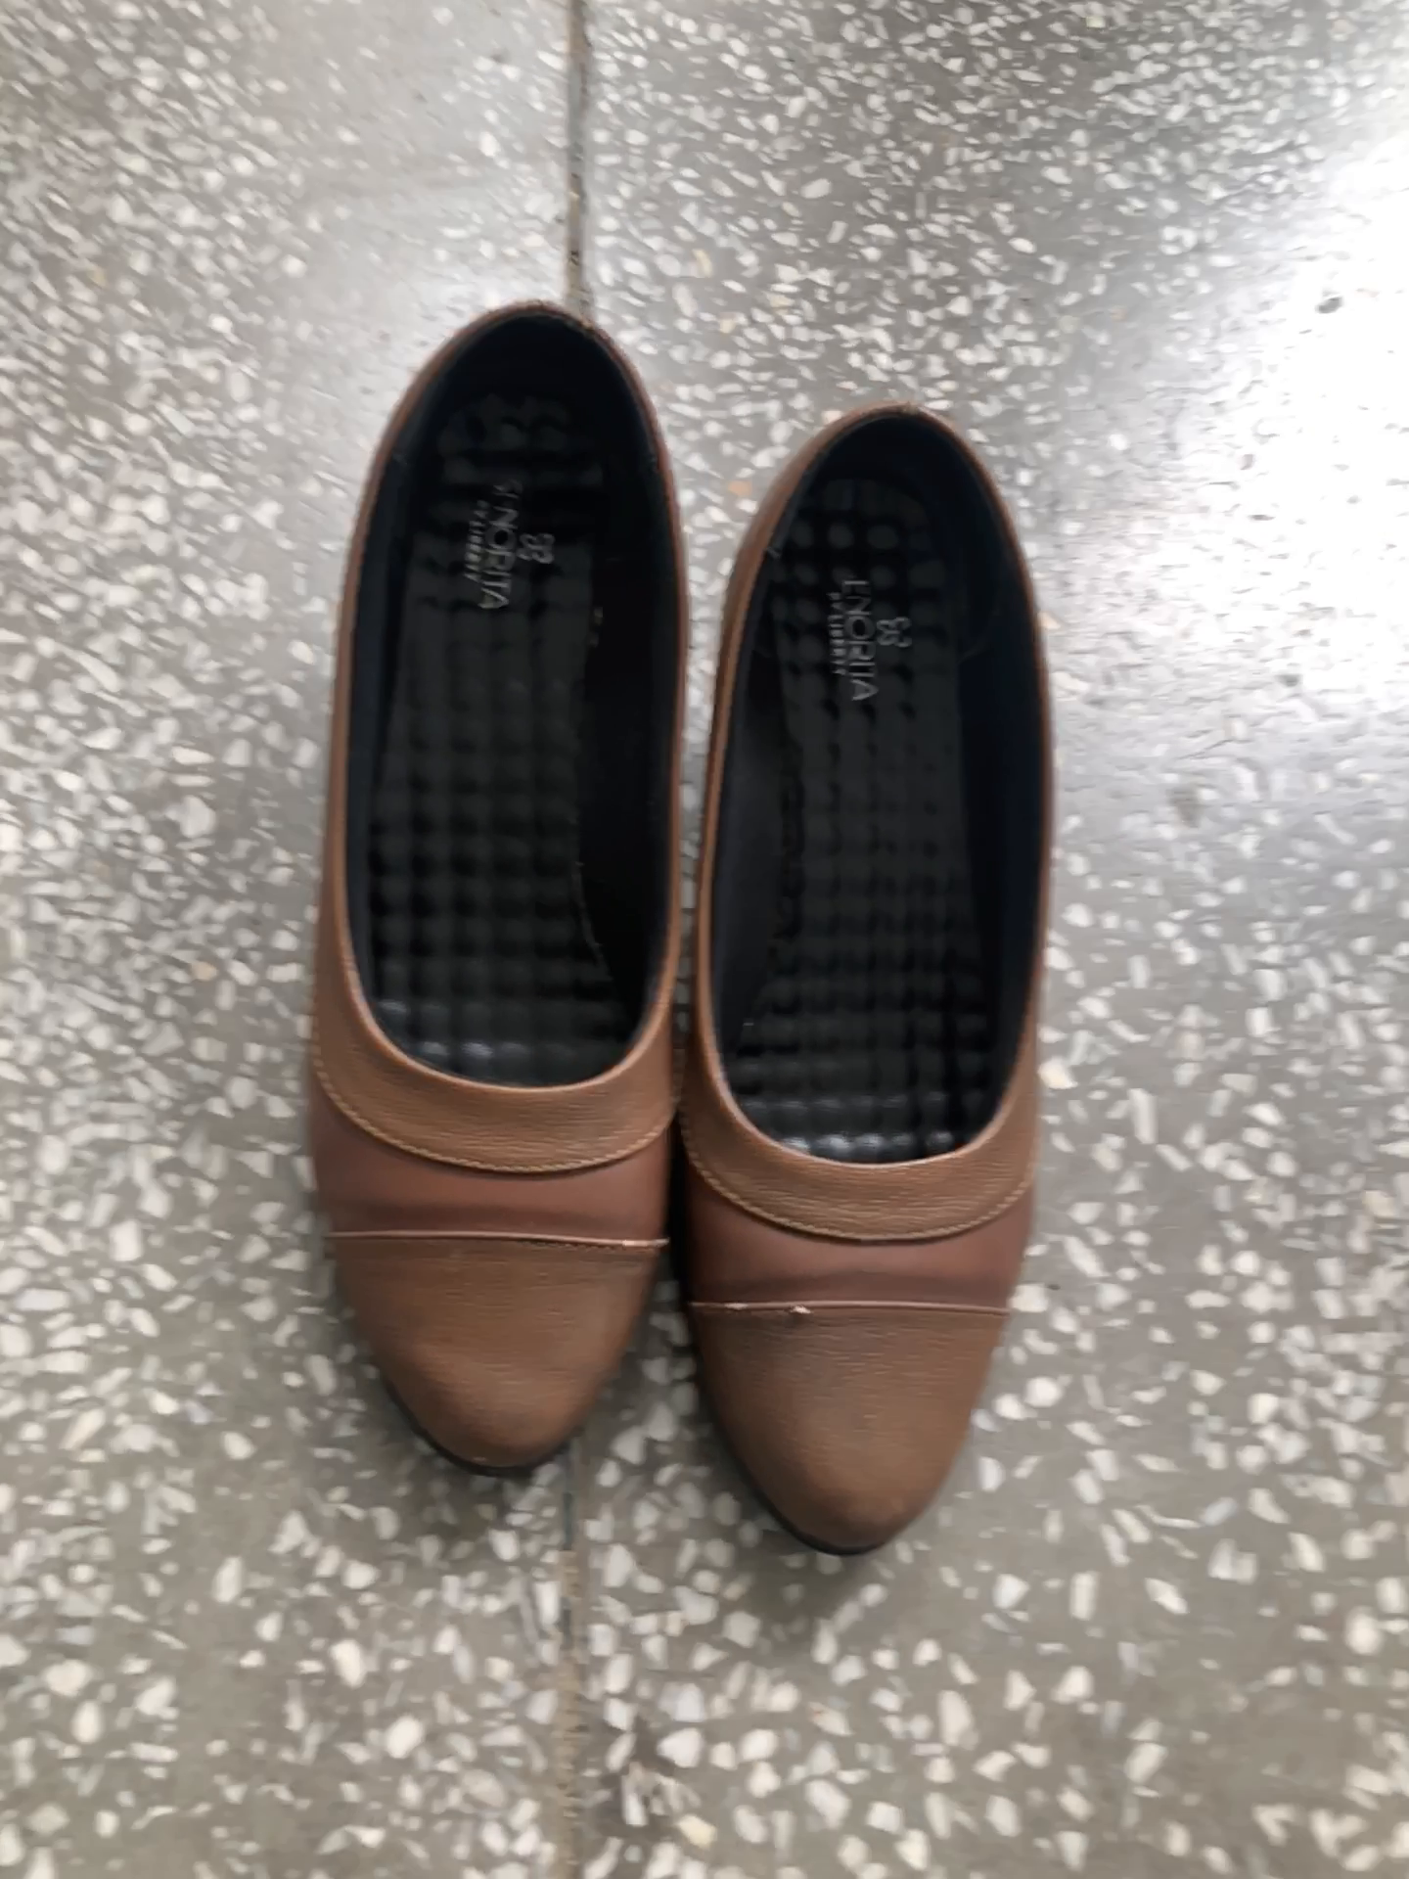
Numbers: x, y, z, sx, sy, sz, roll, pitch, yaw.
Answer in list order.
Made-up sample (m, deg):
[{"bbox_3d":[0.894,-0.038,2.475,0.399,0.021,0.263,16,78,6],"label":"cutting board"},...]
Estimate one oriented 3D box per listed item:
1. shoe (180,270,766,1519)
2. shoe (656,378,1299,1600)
[{"bbox_3d":[-0.041,-0.010,0.335,0.090,0.096,0.244,4,66,-8],"label":"shoe"},{"bbox_3d":[0.042,0.011,0.338,0.092,0.096,0.241,3,66,-8],"label":"shoe"}]
